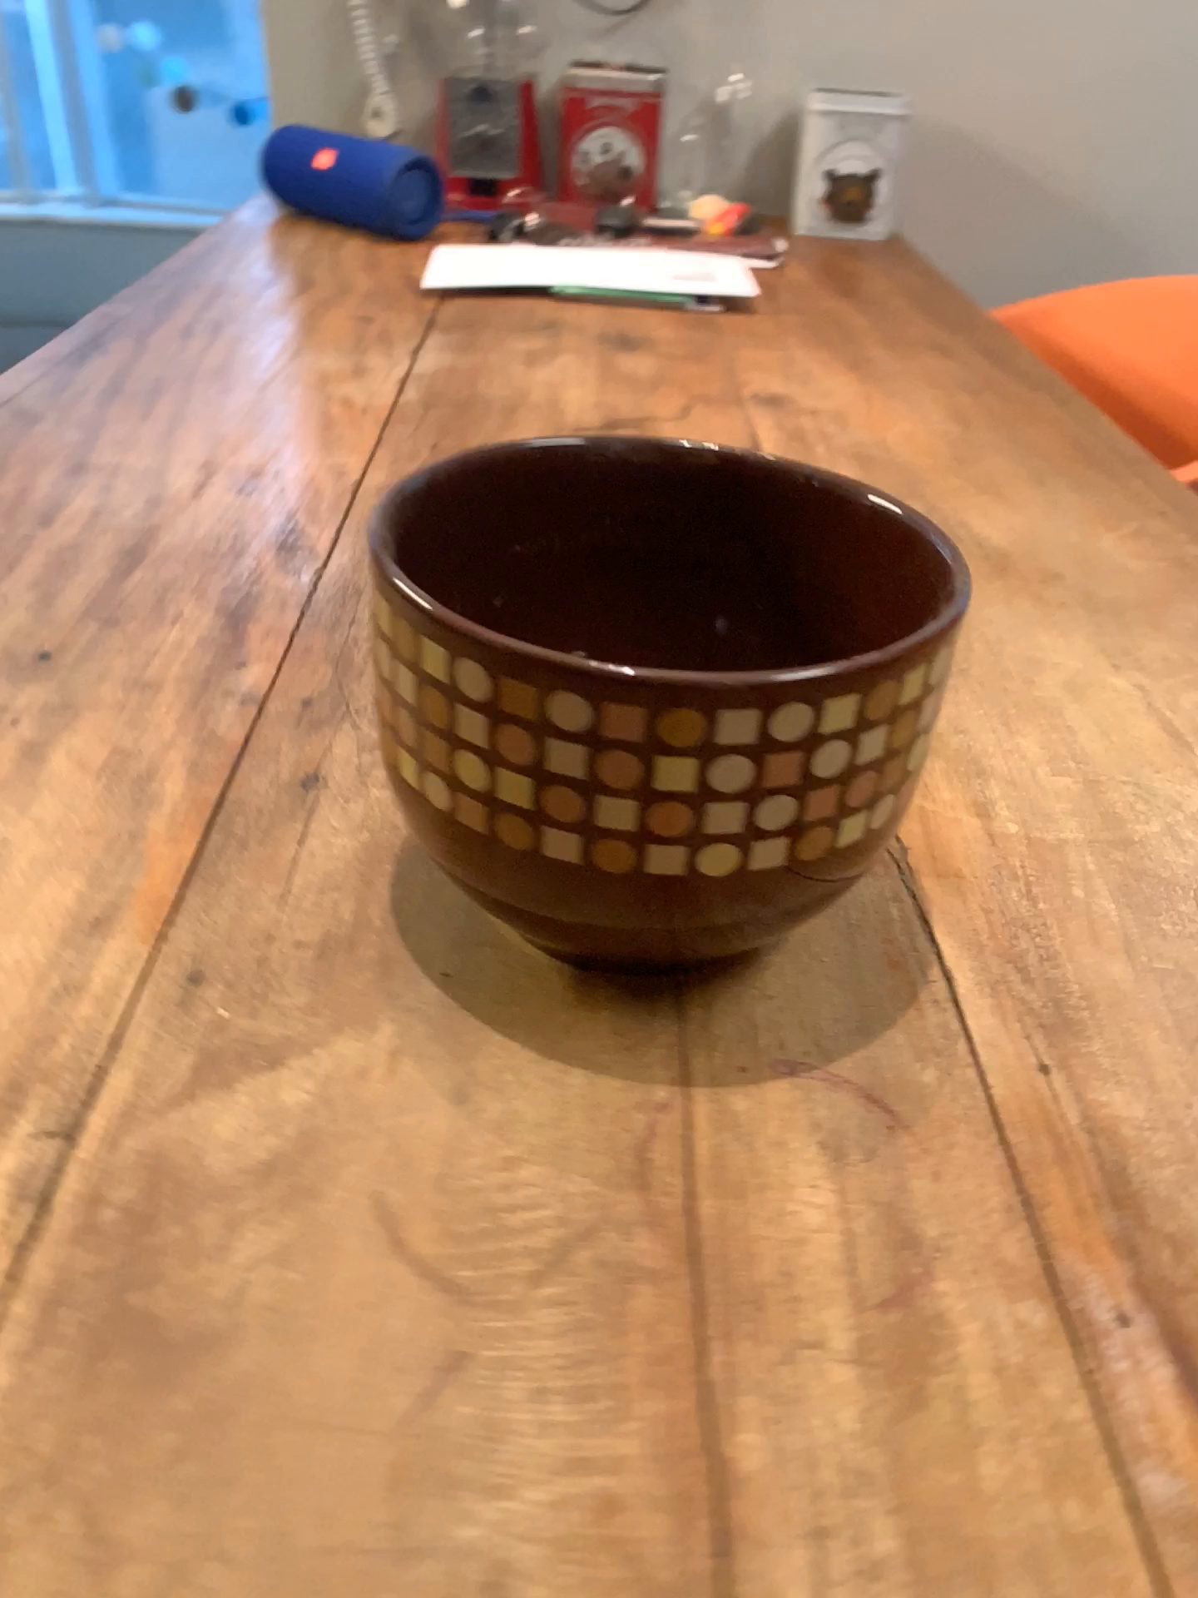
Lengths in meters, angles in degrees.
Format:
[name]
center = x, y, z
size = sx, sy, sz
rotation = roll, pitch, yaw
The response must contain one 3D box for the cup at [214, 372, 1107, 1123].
[cup]
center = 0.000, -0.034, 0.319
size = 0.140, 0.089, 0.181
rotation = -15, 38, -25
